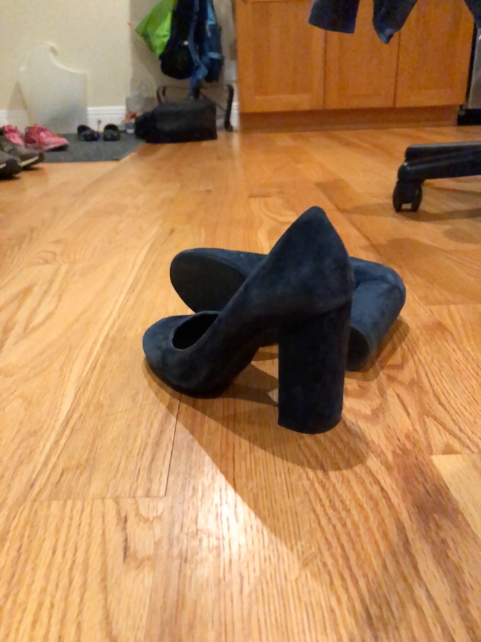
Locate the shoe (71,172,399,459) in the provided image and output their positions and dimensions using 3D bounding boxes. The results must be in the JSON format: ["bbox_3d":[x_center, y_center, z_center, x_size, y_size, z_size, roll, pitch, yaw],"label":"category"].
[{"bbox_3d":[-0.014,-0.022,0.392,0.226,0.146,0.080,17,29,37],"label":"shoe"}]

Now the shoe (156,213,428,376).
[{"bbox_3d":[0.053,-0.038,0.496,0.204,0.080,0.153,9,26,25],"label":"shoe"}]
